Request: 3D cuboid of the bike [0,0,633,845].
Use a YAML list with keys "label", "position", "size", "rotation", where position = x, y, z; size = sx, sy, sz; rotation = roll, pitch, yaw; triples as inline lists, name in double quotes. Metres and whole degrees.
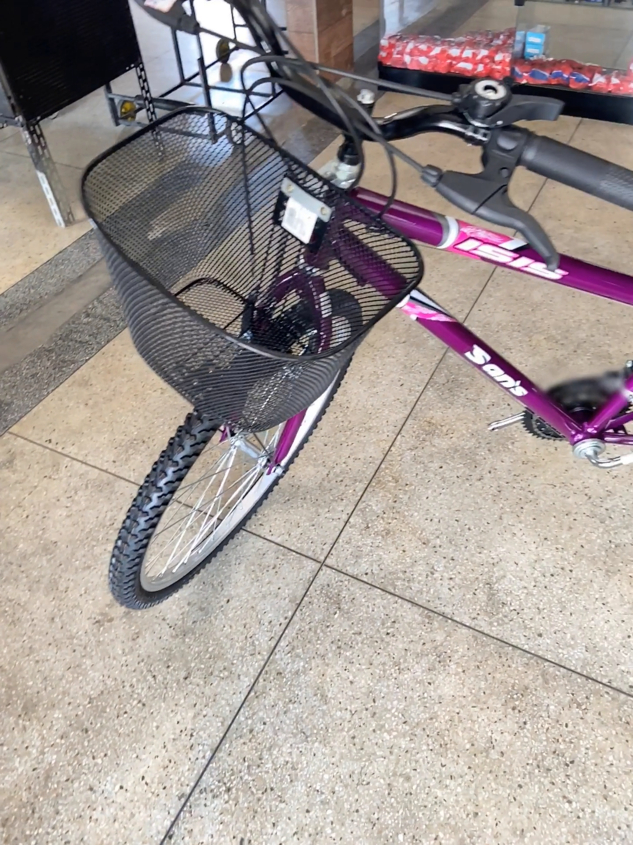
- label: "bike"
  position: [0.464, -0.082, 0.855]
  size: [1.522, 1.034, 0.576]
  rotation: [-10, 46, -7]
